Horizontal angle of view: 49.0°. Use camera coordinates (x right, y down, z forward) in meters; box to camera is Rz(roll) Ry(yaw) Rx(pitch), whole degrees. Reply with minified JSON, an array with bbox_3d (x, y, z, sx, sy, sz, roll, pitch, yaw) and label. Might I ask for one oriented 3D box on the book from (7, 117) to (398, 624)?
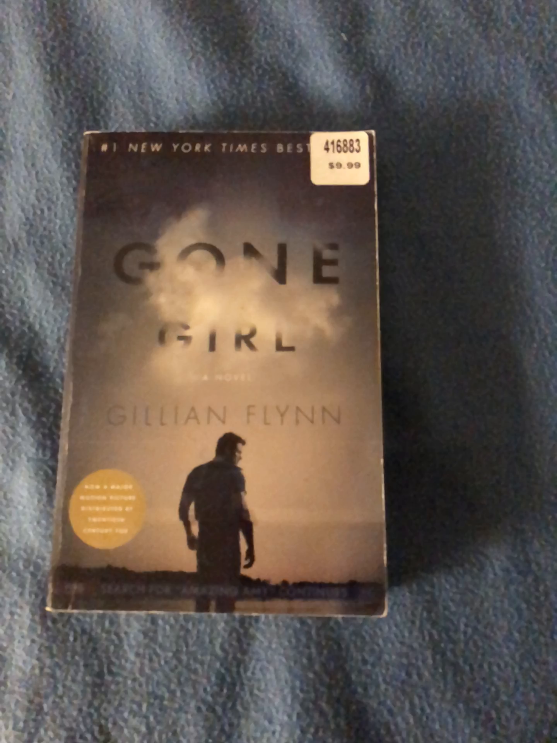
[{"bbox_3d":[-0.027,-0.004,0.257,0.140,0.040,0.200,0,79,0],"label":"book"}]
